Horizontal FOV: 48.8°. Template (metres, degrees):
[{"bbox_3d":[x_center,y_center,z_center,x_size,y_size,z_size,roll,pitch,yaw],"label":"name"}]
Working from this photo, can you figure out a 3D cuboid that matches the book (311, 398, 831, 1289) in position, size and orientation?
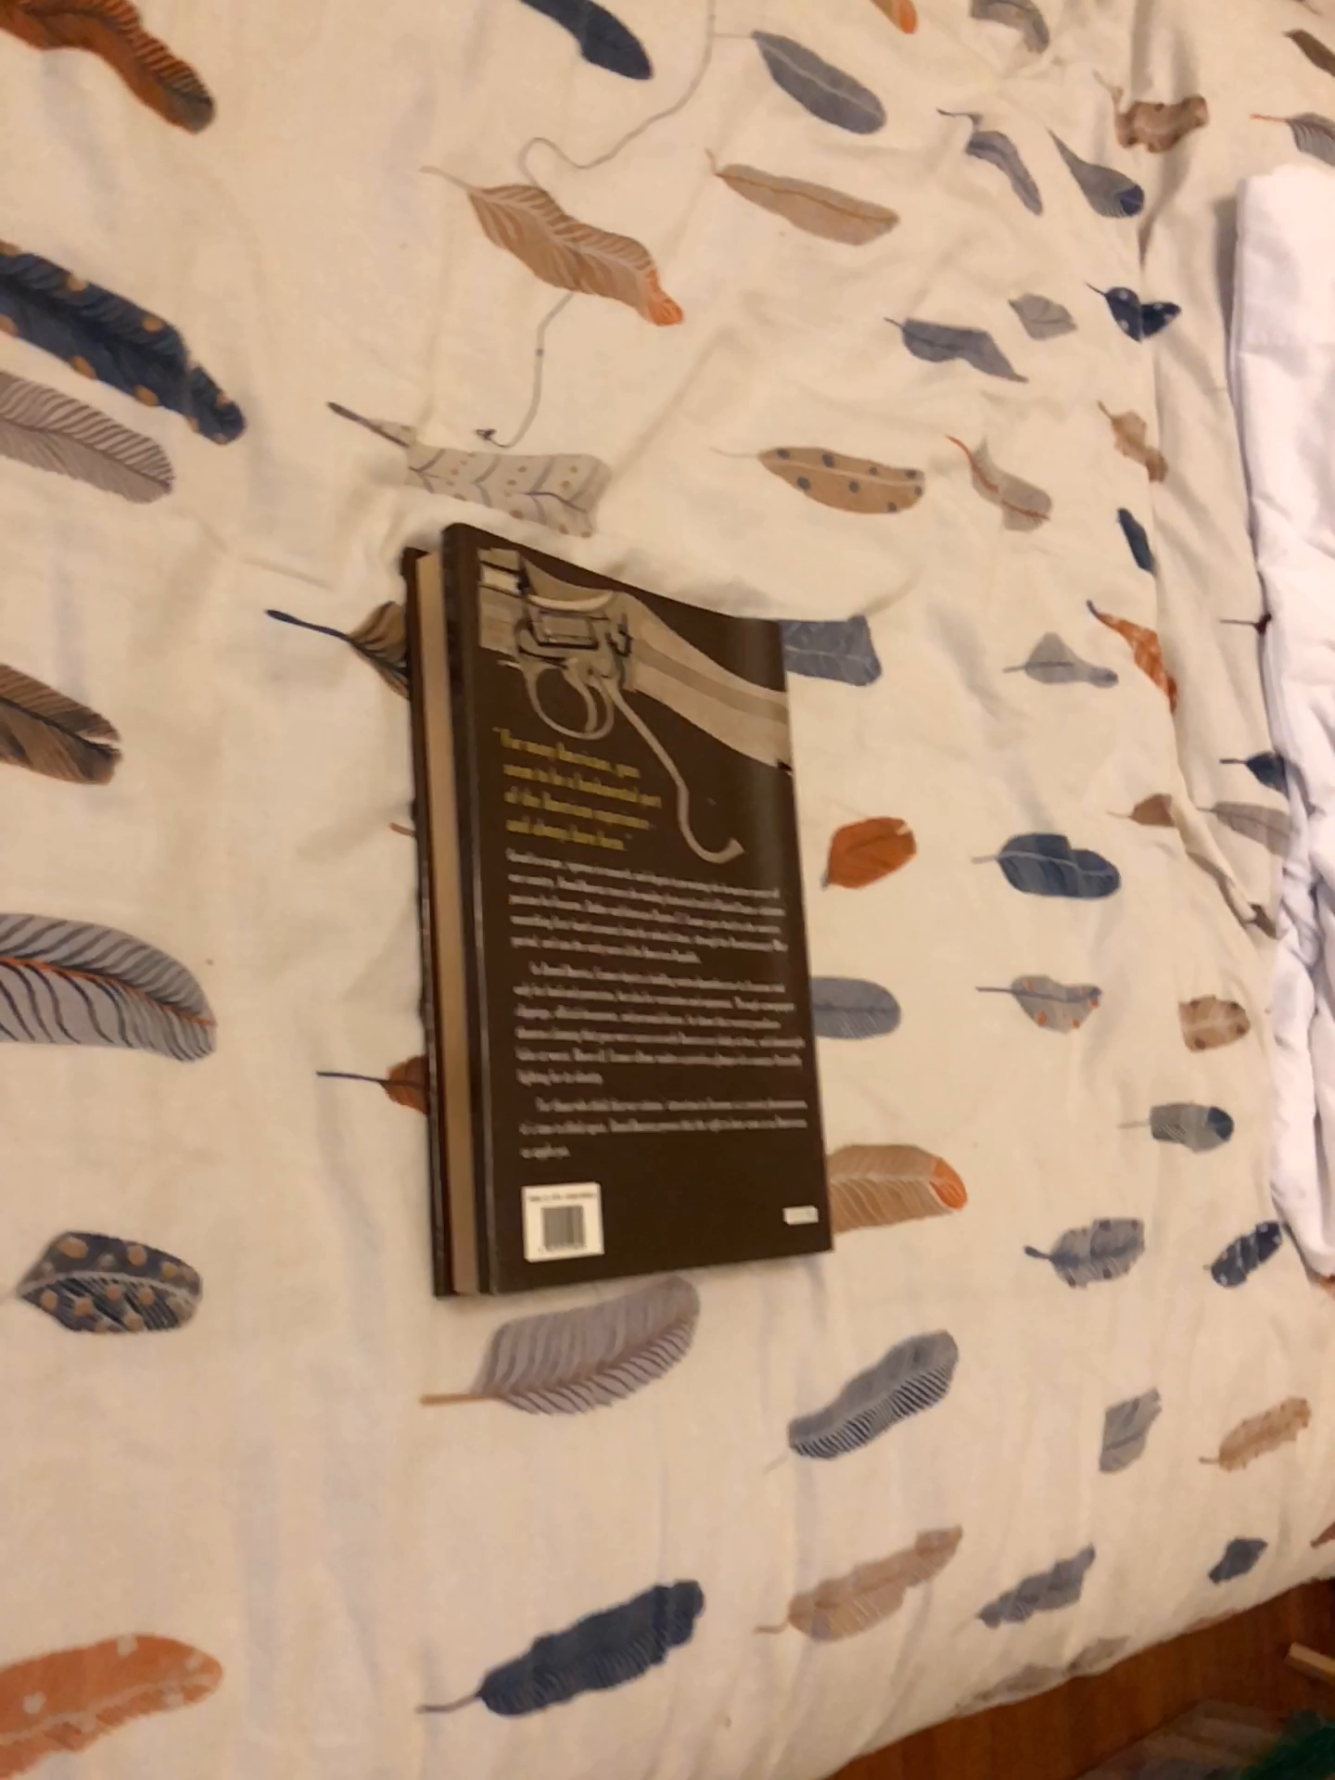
[{"bbox_3d":[-0.024,-0.008,0.461,0.181,0.030,0.240,8,76,-45],"label":"book"}]
